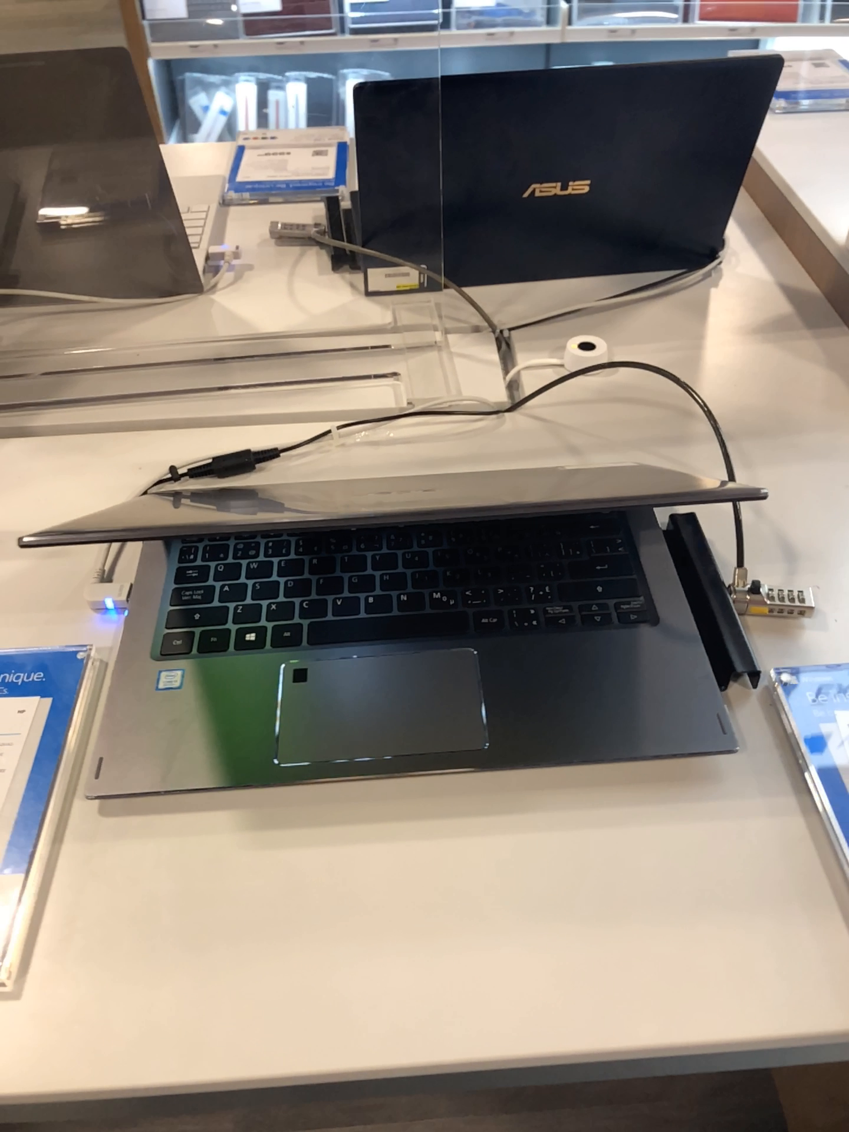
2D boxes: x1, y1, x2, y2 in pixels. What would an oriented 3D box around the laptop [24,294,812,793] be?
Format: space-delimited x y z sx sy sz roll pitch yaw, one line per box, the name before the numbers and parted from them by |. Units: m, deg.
laptop | -0.004 -0.021 0.475 0.301 0.123 0.212 -4 44 -1
